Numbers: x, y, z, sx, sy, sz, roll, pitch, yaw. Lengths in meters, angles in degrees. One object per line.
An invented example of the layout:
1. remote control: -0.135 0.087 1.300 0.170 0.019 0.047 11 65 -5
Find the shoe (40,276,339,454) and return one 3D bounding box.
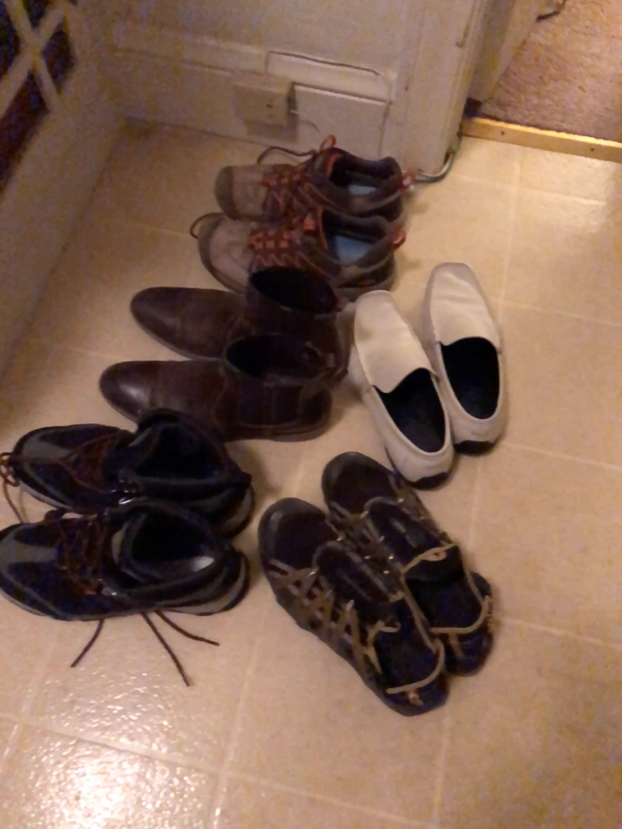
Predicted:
1. shoe: -0.136 -0.055 0.863 0.323 0.192 0.111 6 64 2

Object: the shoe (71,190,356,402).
1. shoe: -0.118 -0.150 0.908 0.323 0.192 0.110 16 65 6

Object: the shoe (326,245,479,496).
1. shoe: 0.110 -0.063 0.908 0.110 0.113 0.304 -11 65 -6

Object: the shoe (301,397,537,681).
1. shoe: 0.111 0.144 0.805 0.110 0.123 0.294 -28 68 -14

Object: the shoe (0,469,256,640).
1. shoe: -0.233 0.160 0.744 0.323 0.192 0.111 5 64 1

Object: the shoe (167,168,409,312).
1. shoe: -0.029 -0.247 0.972 0.313 0.113 0.111 9 64 3

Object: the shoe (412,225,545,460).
1. shoe: 0.217 -0.101 0.931 0.110 0.113 0.304 -2 64 -2

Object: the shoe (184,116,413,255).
1. shoe: -0.016 -0.342 1.025 0.313 0.113 0.111 9 64 3

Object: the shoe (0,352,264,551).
1. shoe: -0.230 0.052 0.805 0.323 0.192 0.111 11 64 4

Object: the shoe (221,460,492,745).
1. shoe: 0.041 0.210 0.768 0.110 0.123 0.293 -39 71 -18
